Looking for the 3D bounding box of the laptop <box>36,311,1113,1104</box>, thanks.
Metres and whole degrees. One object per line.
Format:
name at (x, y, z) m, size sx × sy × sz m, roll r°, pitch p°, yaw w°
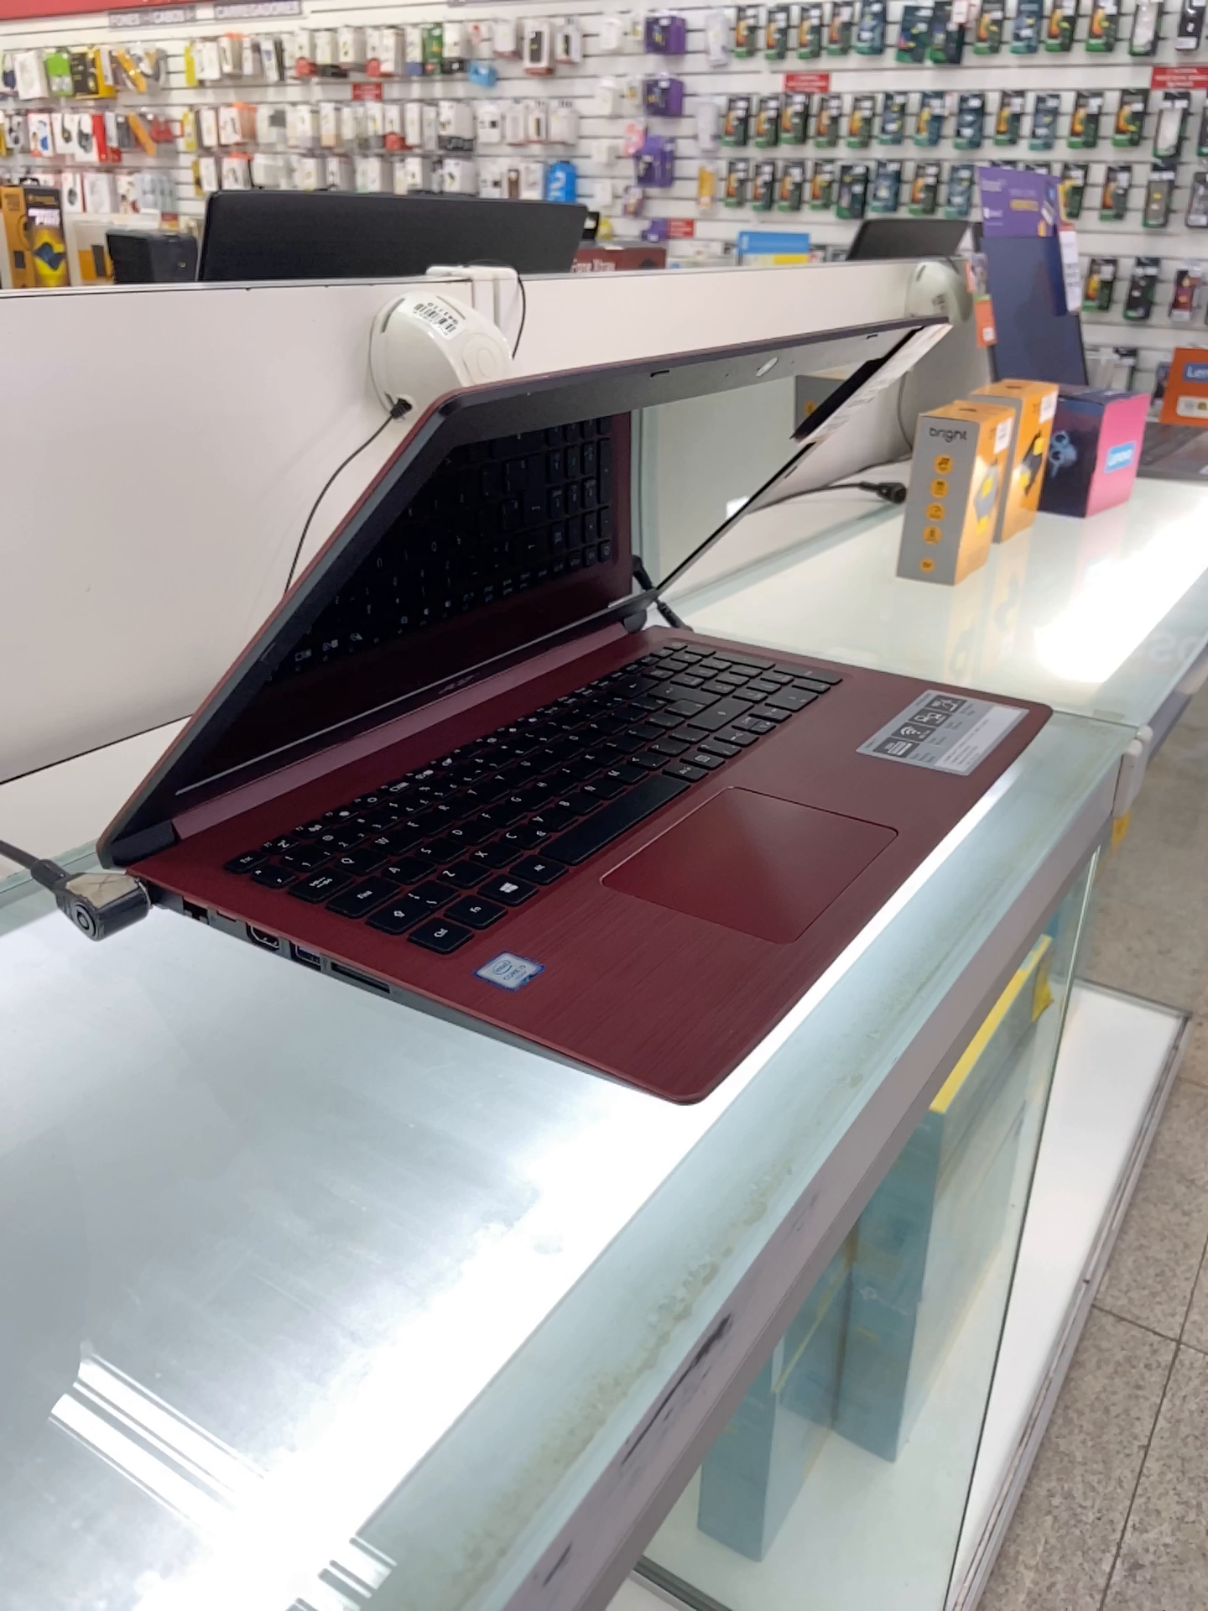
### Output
laptop at (0.023, -0.092, 0.501) m, size 0.238 × 0.179 × 0.369 m, roll 16°, pitch 28°, yaw 29°
